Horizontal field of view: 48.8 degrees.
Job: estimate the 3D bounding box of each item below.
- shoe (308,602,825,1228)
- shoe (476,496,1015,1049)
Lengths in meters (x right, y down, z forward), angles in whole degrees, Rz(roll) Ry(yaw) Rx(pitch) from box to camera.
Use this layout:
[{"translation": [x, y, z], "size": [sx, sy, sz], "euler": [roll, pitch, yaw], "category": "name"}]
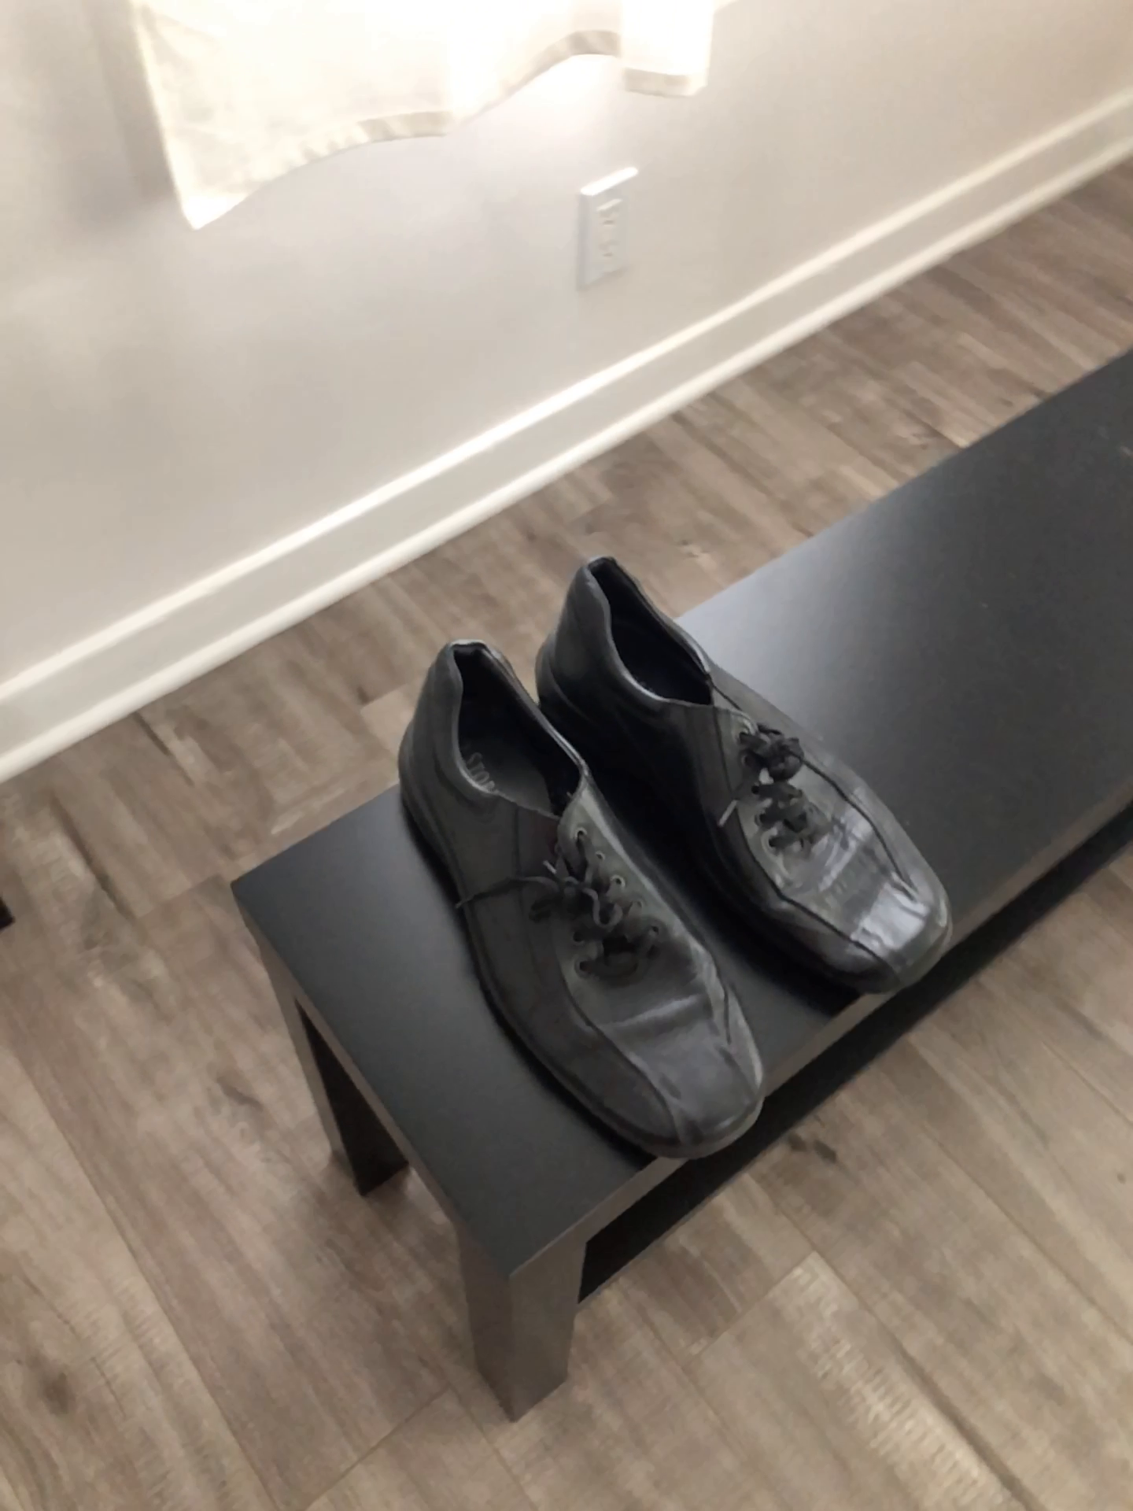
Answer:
[{"translation": [-0.012, 0.072, 0.640], "size": [0.110, 0.110, 0.286], "euler": [-27, 60, -19], "category": "shoe"}, {"translation": [0.081, 0.001, 0.683], "size": [0.110, 0.110, 0.283], "euler": [-33, 63, -22], "category": "shoe"}]
